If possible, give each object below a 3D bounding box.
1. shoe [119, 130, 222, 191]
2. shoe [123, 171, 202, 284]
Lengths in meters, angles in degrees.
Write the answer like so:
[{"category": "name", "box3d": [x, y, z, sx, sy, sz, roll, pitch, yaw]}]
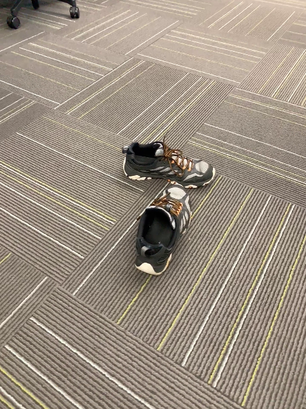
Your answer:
[{"category": "shoe", "box3d": [0.057, -0.141, 0.991, 0.300, 0.099, 0.111, 9, 50, 8]}, {"category": "shoe", "box3d": [0.035, 0.052, 0.879, 0.110, 0.099, 0.301, 17, 51, 14]}]
